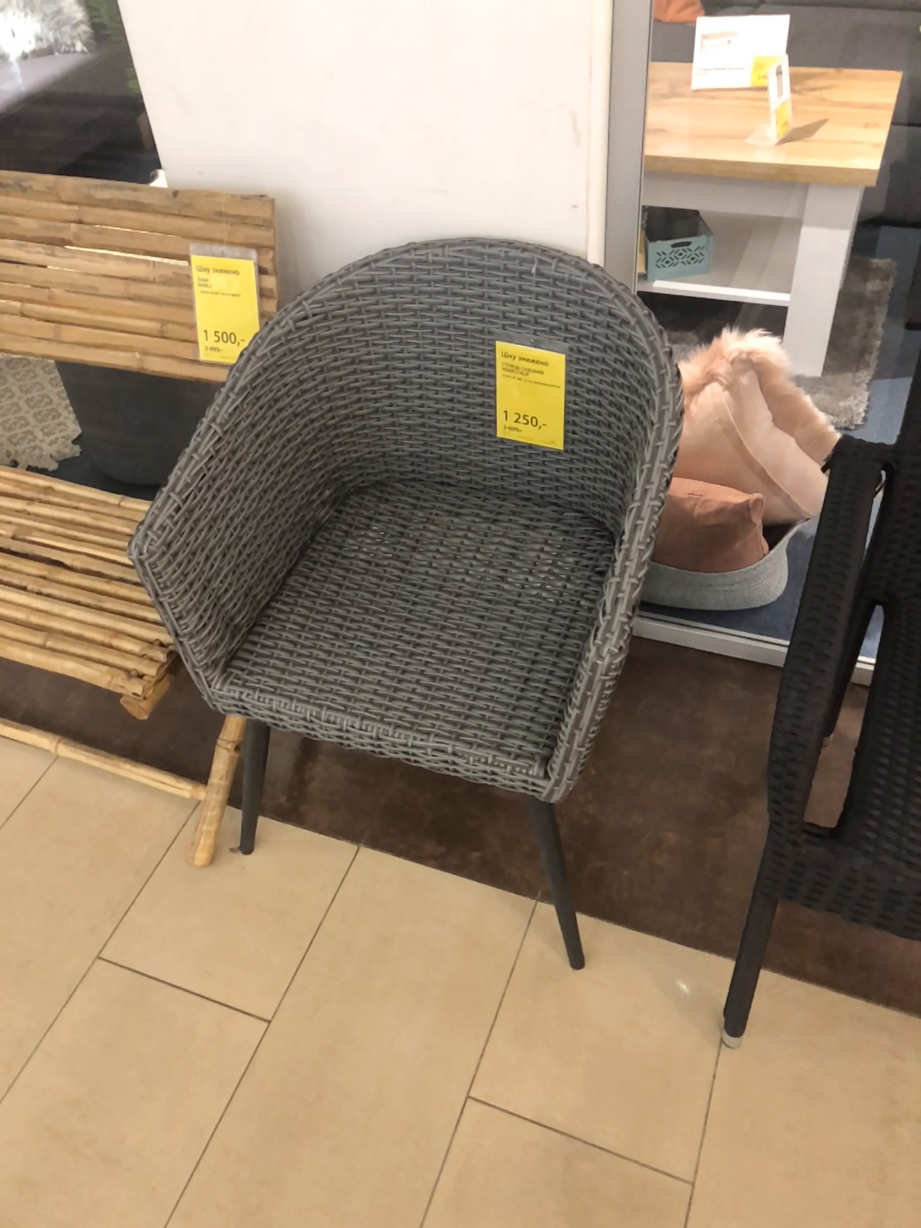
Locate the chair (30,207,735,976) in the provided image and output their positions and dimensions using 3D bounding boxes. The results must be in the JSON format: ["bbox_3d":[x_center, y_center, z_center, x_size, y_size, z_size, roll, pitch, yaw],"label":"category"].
[{"bbox_3d":[-0.027,-0.028,1.303,0.570,0.737,0.522,13,47,18],"label":"chair"}]
